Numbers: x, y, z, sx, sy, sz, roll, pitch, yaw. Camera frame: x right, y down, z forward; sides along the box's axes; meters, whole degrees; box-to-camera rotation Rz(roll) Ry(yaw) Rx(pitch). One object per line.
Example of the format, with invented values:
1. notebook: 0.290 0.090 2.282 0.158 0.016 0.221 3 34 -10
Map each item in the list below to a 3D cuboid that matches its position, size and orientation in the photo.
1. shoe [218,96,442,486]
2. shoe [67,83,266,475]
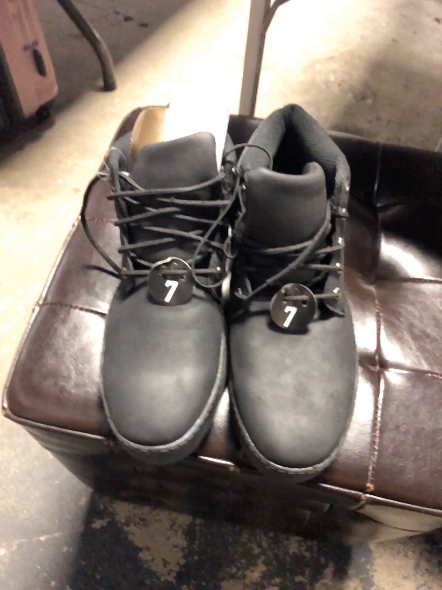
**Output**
1. shoe: 0.056 -0.002 0.337 0.100 0.139 0.221 3 58 -2
2. shoe: -0.027 -0.015 0.376 0.100 0.139 0.262 3 58 -2
